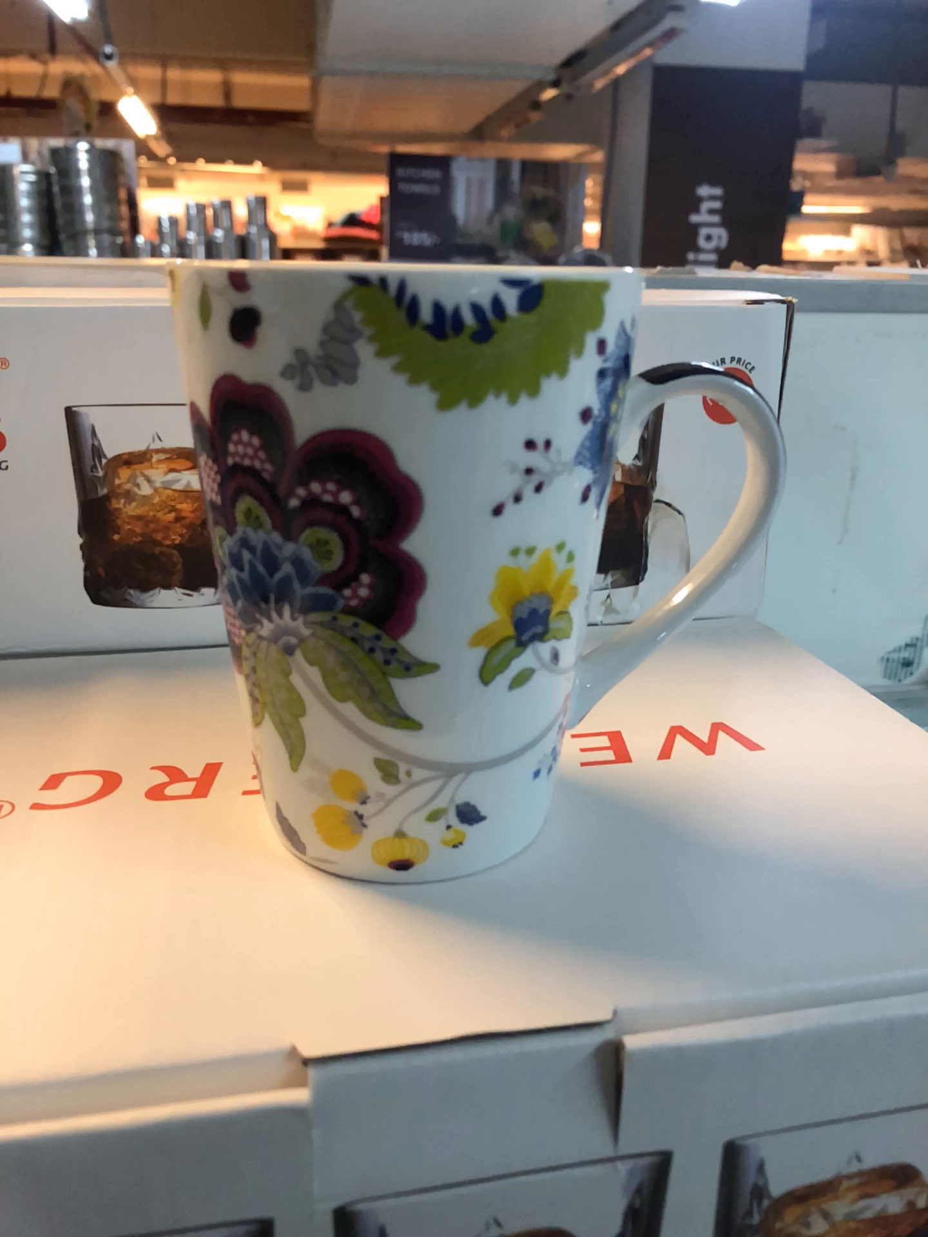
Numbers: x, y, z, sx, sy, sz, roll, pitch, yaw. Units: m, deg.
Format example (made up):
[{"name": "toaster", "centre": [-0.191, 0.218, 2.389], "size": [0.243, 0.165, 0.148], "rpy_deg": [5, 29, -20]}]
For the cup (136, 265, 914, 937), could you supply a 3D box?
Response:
[{"name": "cup", "centre": [0.004, -0.015, 0.204], "size": [0.120, 0.100, 0.080], "rpy_deg": [-5, 19, -21]}]
